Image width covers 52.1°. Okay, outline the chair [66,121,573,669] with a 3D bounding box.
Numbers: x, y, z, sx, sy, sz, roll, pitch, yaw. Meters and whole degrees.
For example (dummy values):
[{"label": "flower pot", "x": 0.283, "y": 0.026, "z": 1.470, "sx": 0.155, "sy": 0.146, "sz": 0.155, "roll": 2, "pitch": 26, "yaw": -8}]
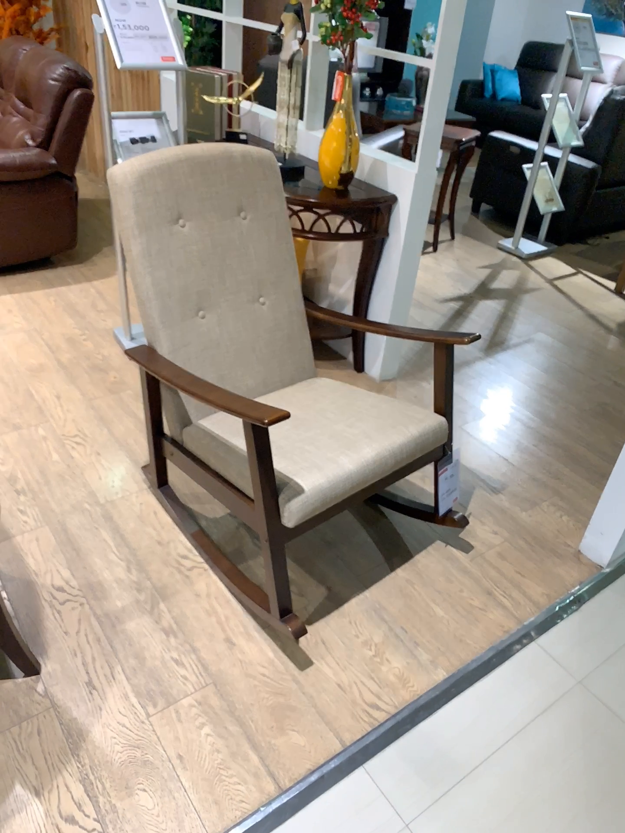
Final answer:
[{"label": "chair", "x": -0.037, "y": -0.135, "z": 1.664, "sx": 0.732, "sy": 0.976, "sz": 0.842, "roll": -24, "pitch": 44, "yaw": -37}]
